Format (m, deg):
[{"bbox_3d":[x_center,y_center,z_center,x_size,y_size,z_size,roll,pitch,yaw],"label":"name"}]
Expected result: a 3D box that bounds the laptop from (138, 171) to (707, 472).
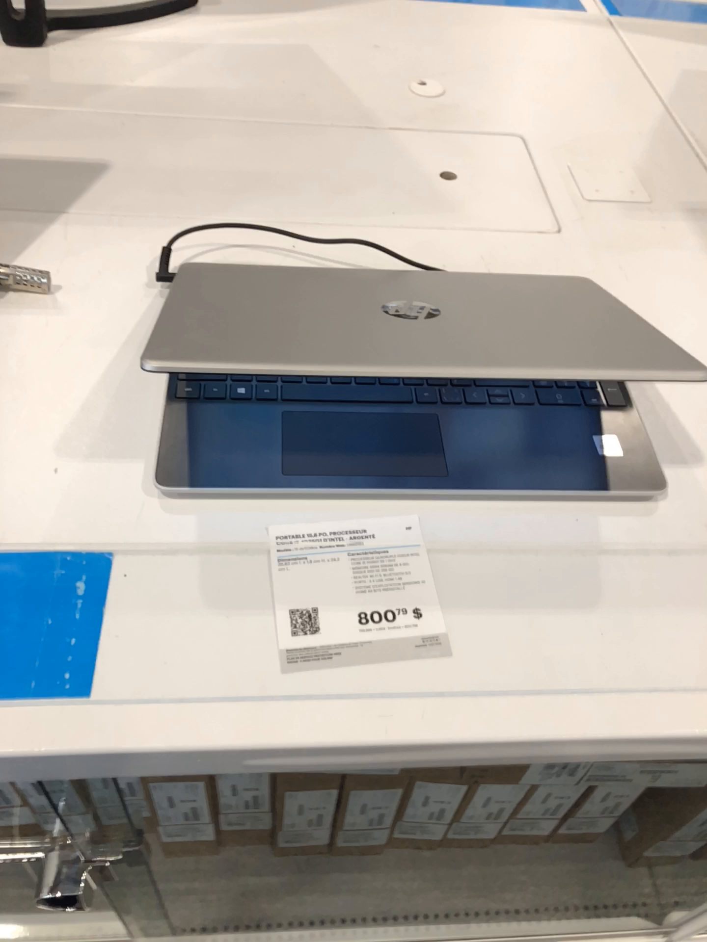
[{"bbox_3d":[0.037,-0.115,0.568,0.341,0.086,0.229,0,49,-4],"label":"laptop"}]
